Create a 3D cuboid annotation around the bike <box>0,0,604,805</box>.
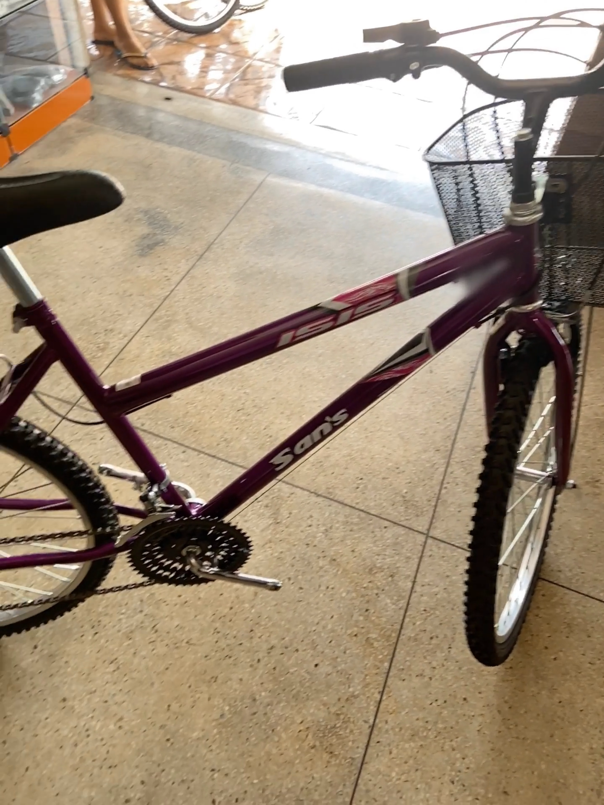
[{"bbox_3d":[-0.181,-0.070,0.874,1.523,1.034,0.575,-13,52,-11],"label":"bike"}]
